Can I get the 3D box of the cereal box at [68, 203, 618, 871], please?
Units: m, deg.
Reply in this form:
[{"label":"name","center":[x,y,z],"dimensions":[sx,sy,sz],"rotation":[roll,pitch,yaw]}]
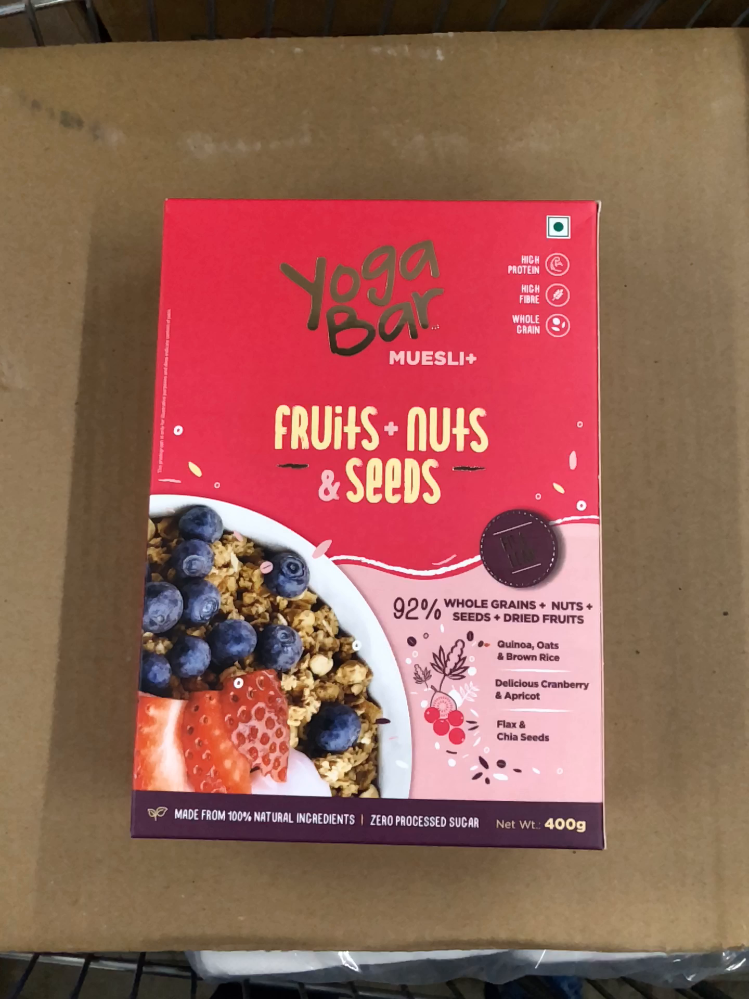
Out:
[{"label":"cereal box","center":[-0.007,0.010,0.296],"dimensions":[0.170,0.060,0.210],"rotation":[2,85,0]}]
